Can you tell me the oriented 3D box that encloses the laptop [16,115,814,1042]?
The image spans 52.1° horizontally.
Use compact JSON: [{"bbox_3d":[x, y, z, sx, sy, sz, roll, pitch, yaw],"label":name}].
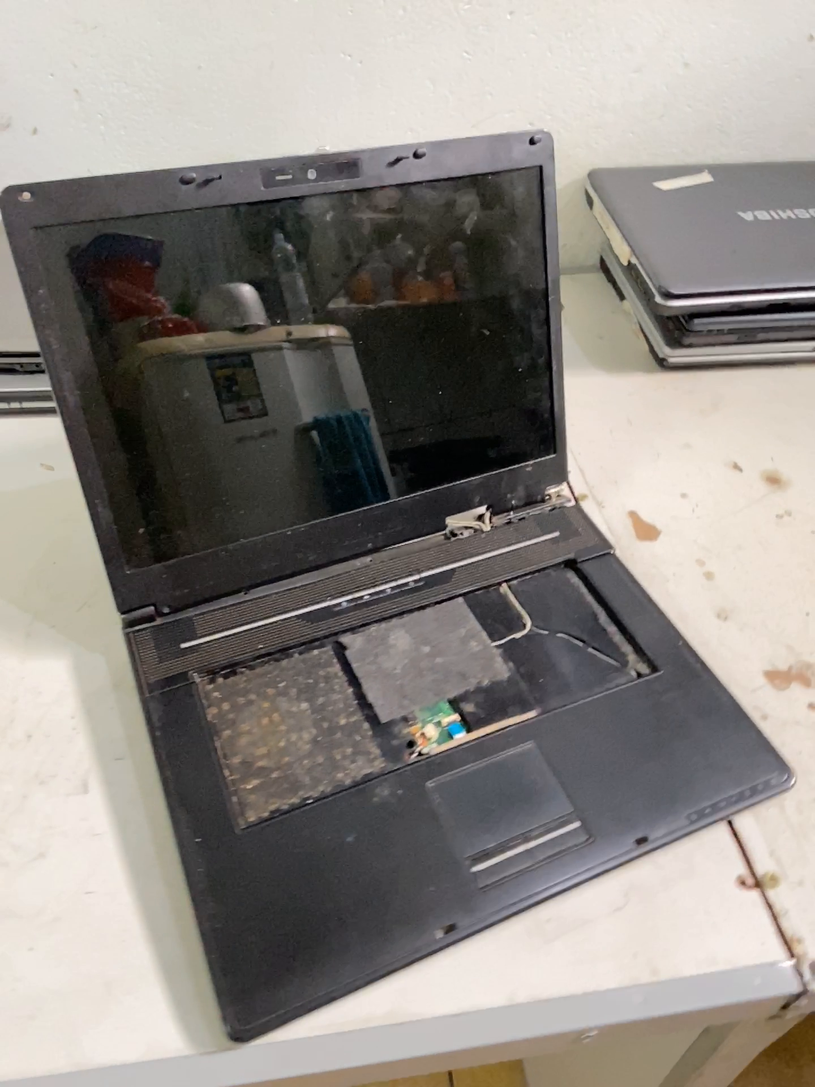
[{"bbox_3d":[0.007,-0.031,0.481,0.345,0.235,0.381,-15,49,-18],"label":"laptop"}]
